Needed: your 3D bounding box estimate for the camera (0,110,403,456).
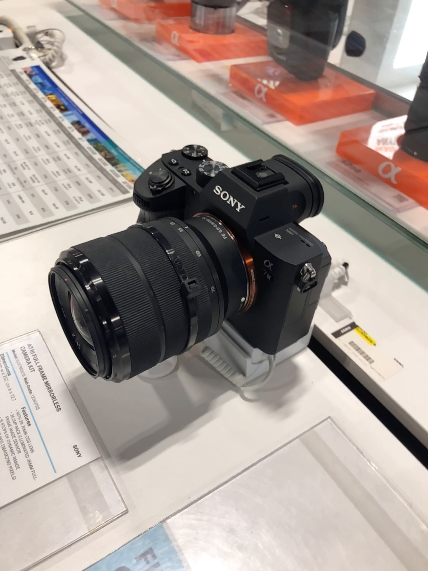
[{"bbox_3d":[-0.013,-0.020,0.269,0.160,0.079,0.141,-23,49,-27],"label":"camera"}]
